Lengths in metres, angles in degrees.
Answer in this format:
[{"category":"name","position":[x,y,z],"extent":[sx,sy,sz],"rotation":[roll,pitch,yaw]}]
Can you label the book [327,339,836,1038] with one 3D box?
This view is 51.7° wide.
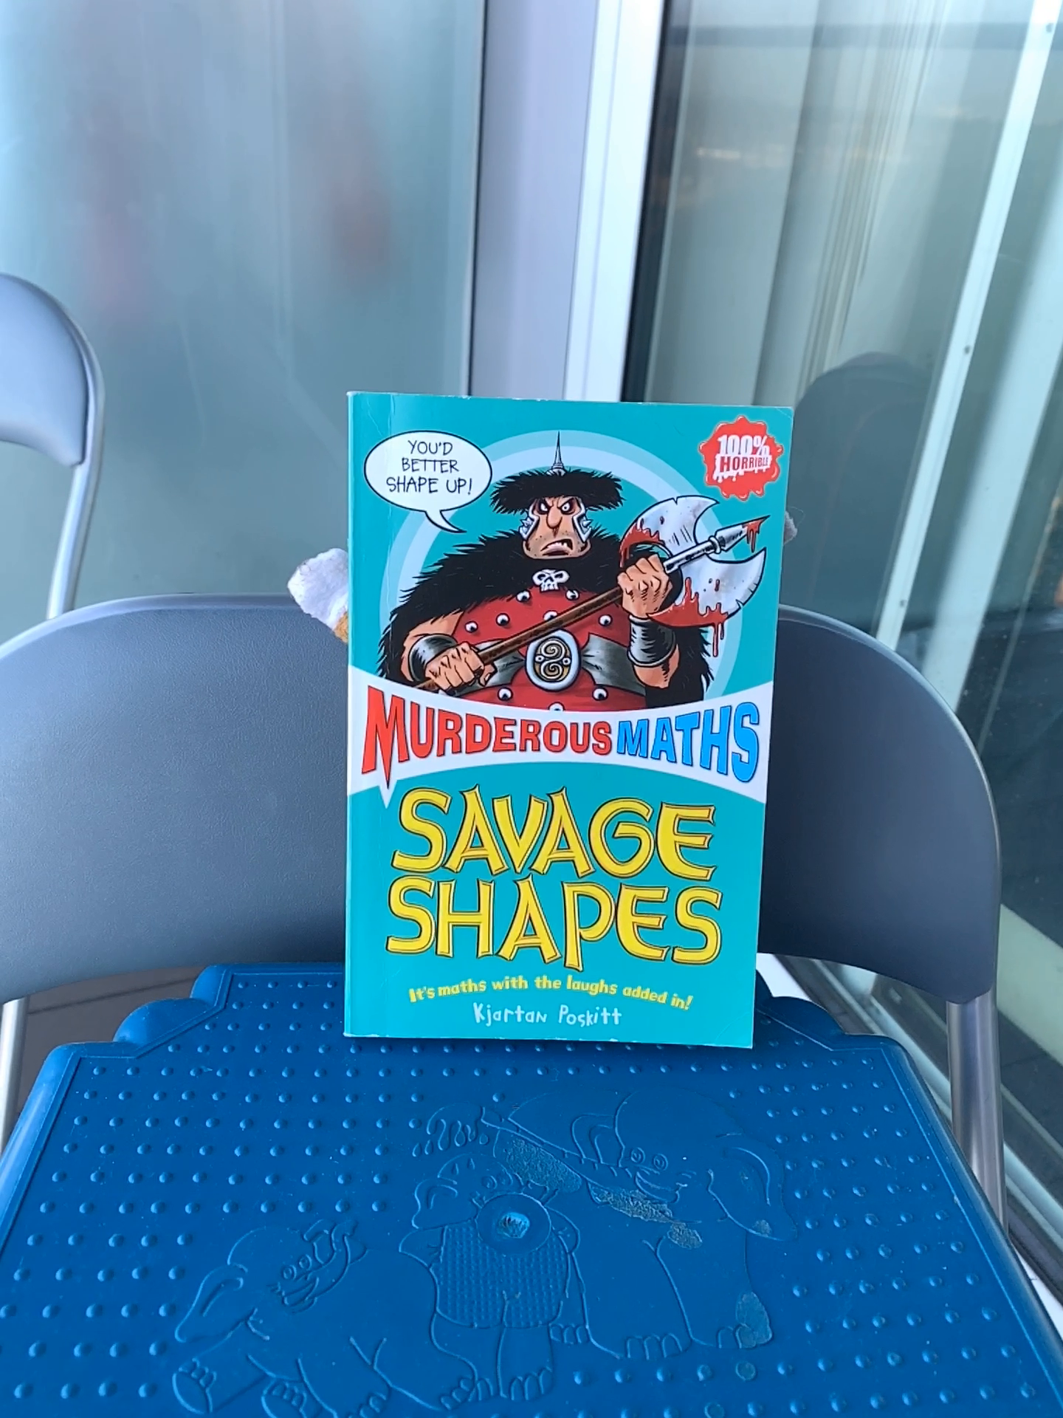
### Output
[{"category":"book","position":[0.011,-0.002,0.325],"extent":[0.133,0.194,0.029],"rotation":[2,8,-4]}]
